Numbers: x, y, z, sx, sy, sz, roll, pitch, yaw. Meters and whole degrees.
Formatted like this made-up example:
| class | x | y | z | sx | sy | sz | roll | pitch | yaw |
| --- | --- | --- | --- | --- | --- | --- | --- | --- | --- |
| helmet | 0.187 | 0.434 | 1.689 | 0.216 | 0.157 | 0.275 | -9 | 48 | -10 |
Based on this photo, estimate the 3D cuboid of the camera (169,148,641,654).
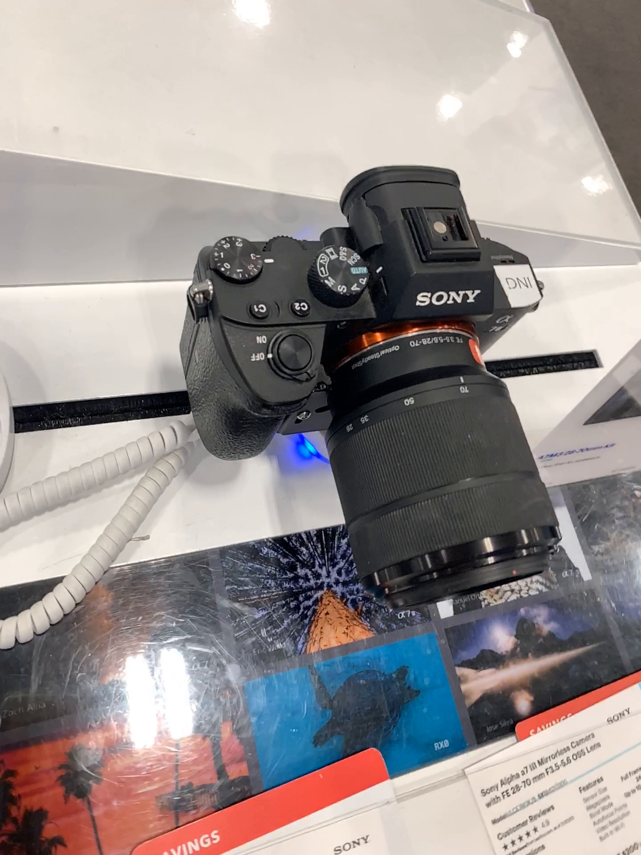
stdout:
| class | x | y | z | sx | sy | sz | roll | pitch | yaw |
| --- | --- | --- | --- | --- | --- | --- | --- | --- | --- |
| camera | 0.024 | -0.009 | 0.242 | 0.119 | 0.100 | 0.140 | -11 | 73 | -22 |
